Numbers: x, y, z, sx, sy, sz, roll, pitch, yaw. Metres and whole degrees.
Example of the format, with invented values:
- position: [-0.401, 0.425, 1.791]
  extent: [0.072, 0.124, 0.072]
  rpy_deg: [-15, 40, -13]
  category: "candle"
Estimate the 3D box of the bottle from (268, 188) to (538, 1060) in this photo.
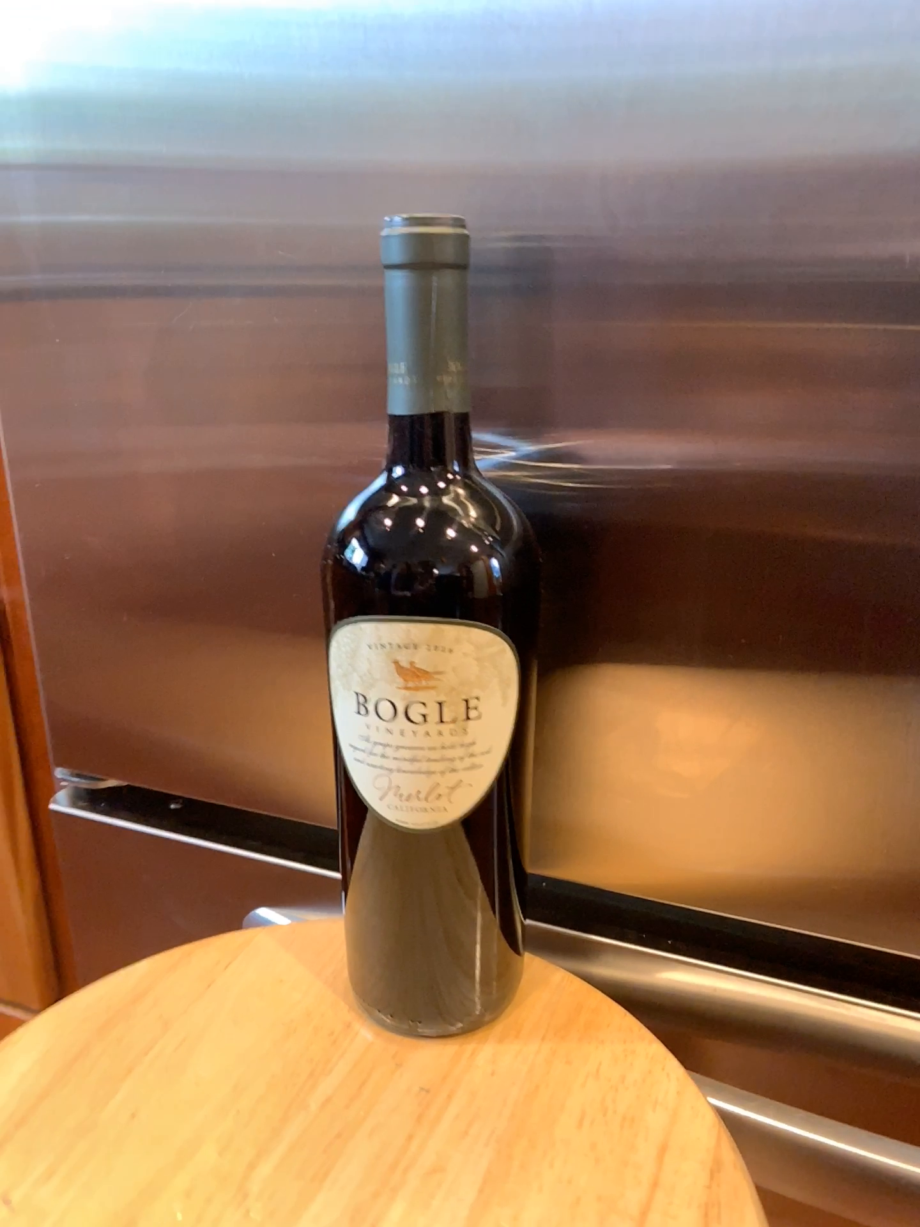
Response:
- position: [-0.016, 0.013, 0.368]
  extent: [0.080, 0.319, 0.080]
  rpy_deg: [0, 18, 0]
  category: "bottle"
